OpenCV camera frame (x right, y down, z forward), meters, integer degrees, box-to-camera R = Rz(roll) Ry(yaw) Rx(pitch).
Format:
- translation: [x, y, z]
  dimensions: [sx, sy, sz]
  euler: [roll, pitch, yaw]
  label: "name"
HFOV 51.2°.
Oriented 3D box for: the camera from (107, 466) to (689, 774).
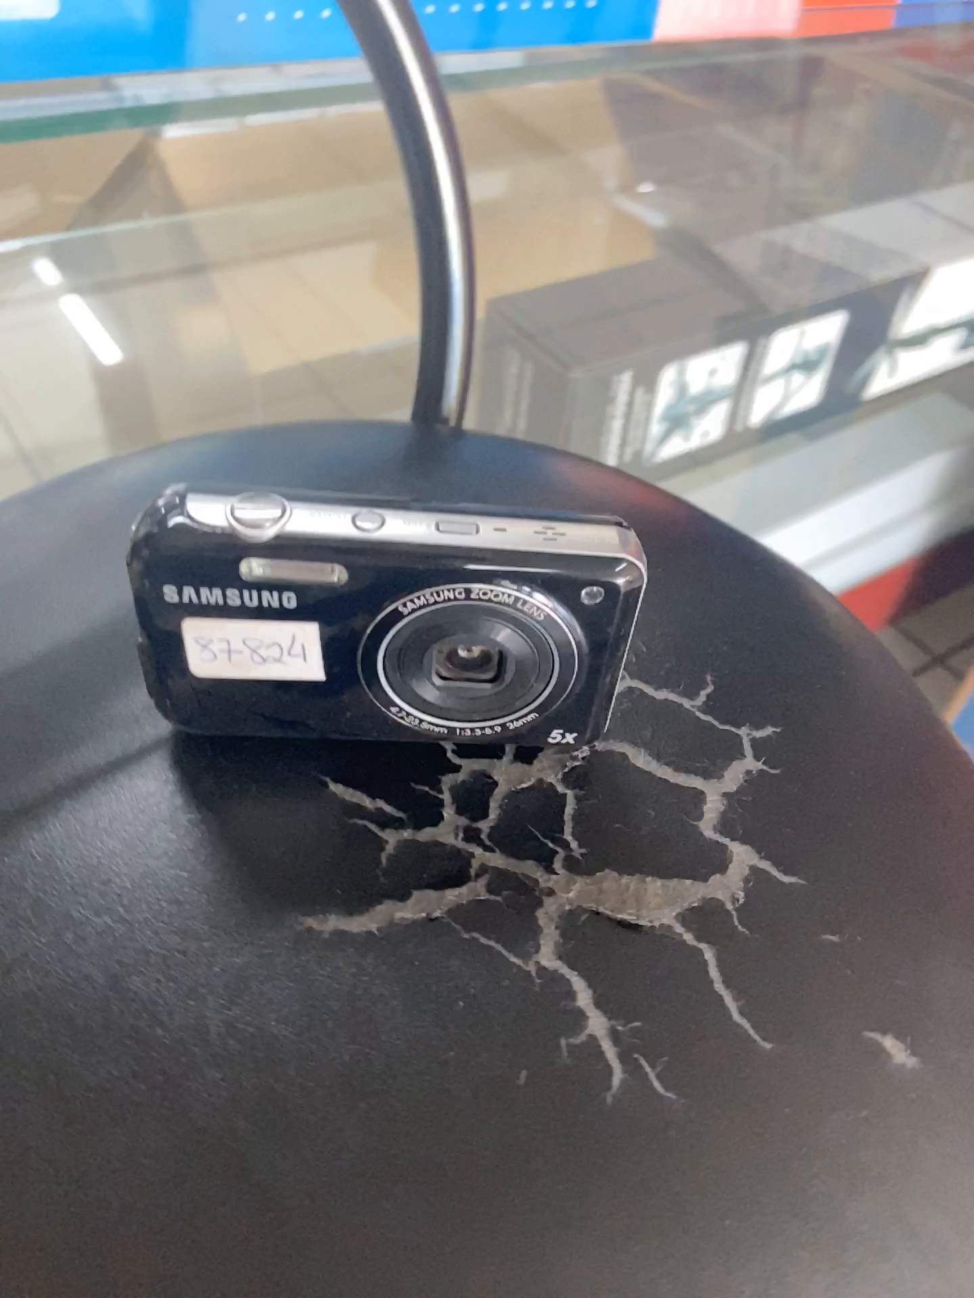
- translation: [-0.017, -0.004, 0.203]
  dimensions: [0.100, 0.050, 0.030]
  euler: [3, 45, -4]
  label: "camera"
